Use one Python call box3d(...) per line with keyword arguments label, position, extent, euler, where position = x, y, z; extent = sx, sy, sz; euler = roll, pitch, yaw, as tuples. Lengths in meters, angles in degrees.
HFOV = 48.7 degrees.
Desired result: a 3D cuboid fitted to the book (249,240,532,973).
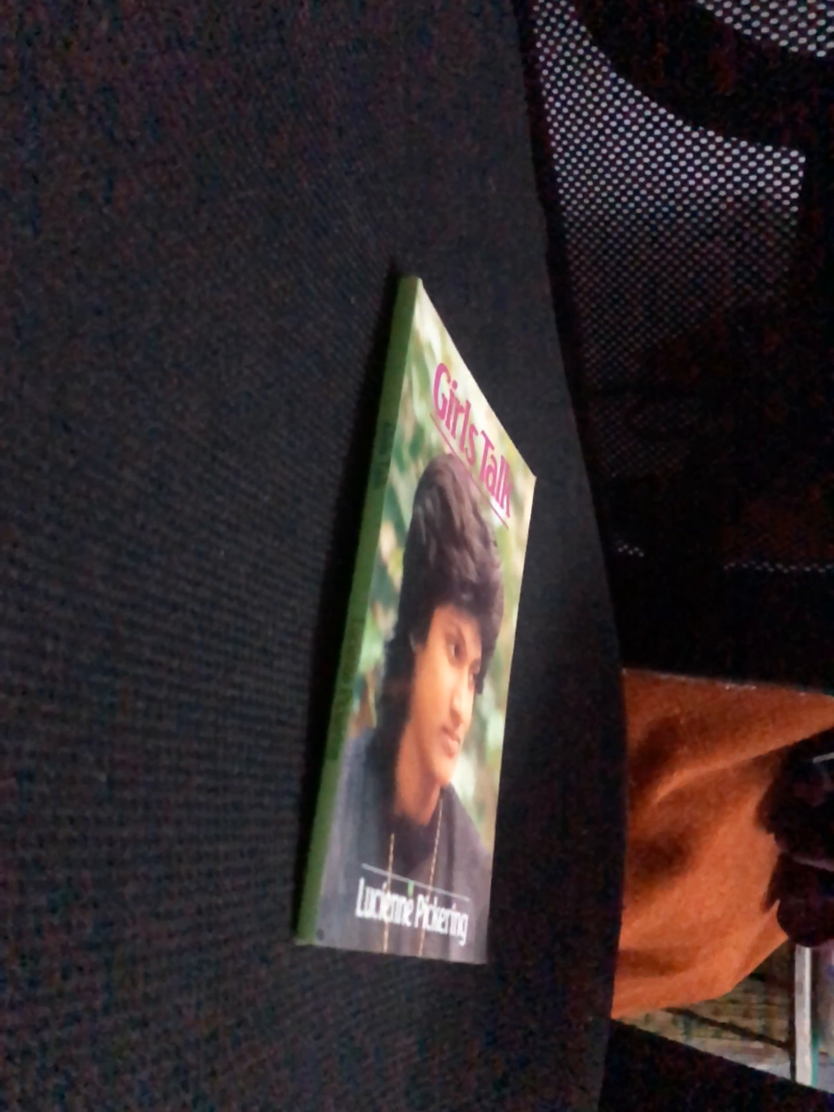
box3d(label="book", position=(0.006, 0.022, 0.297), extent=(0.131, 0.010, 0.200), euler=(48, 45, -56))
